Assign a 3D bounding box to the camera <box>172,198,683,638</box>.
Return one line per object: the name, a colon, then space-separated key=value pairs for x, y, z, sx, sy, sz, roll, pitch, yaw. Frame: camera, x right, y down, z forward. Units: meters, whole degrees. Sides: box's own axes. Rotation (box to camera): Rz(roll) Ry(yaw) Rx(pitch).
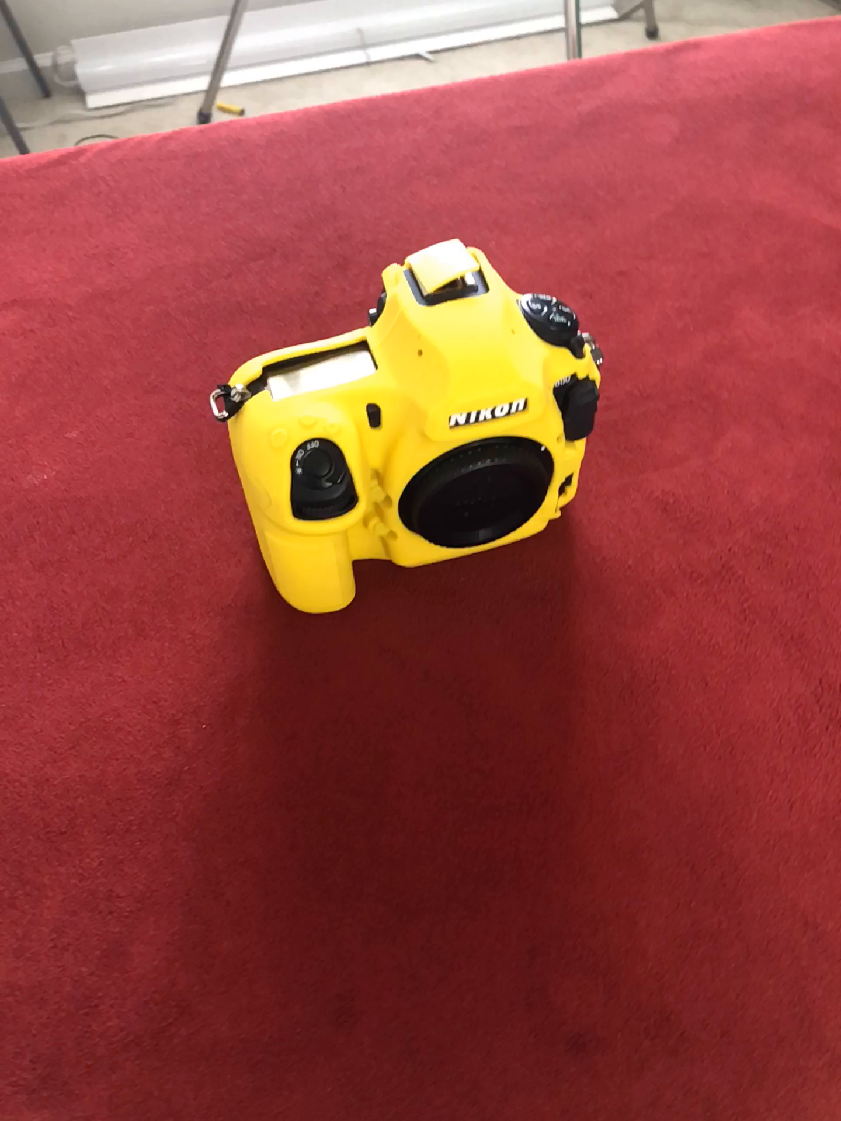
camera: x=0.001 y=-0.054 z=0.372 sx=0.160 sy=0.116 sz=0.082 roll=-15 pitch=56 yaw=-9
